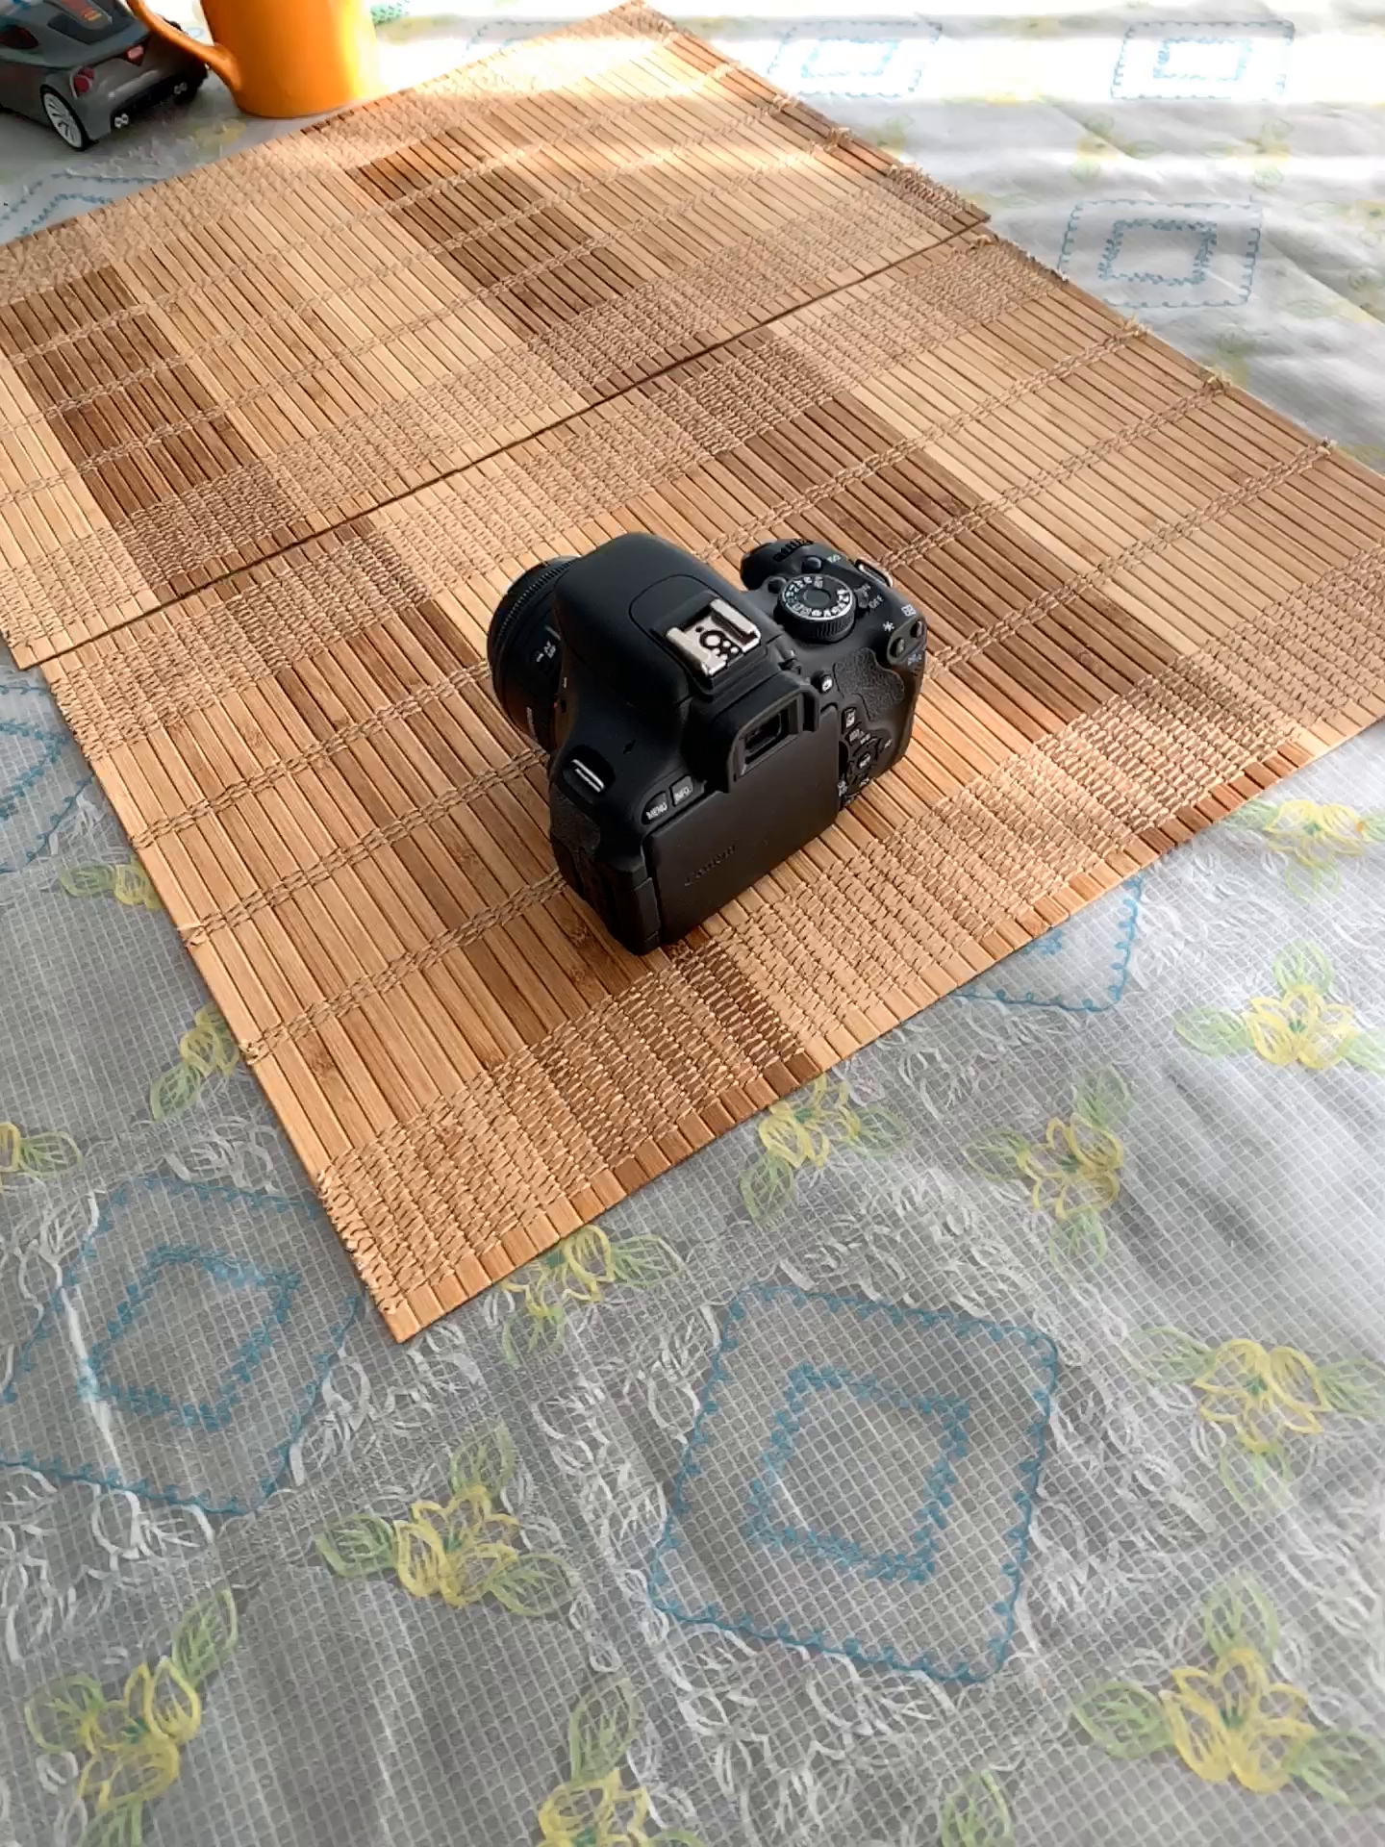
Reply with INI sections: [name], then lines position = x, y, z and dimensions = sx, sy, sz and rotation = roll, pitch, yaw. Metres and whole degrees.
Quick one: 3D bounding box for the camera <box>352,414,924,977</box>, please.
[camera]
position = -0.013, -0.075, 0.451
dimensions = 0.133, 0.080, 0.106
rotation = -37, 59, -19
